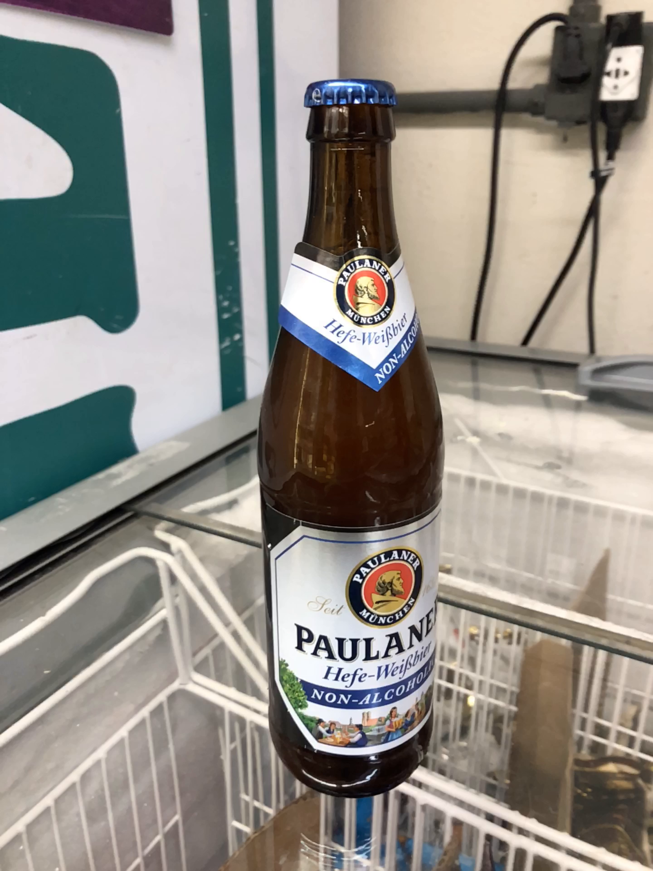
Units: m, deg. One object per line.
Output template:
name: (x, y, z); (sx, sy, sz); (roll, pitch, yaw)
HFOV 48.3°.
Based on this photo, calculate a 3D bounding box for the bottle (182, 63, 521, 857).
bottle: (0.003, 0.014, 0.254); (0.080, 0.248, 0.070); (-6, 21, -16)
